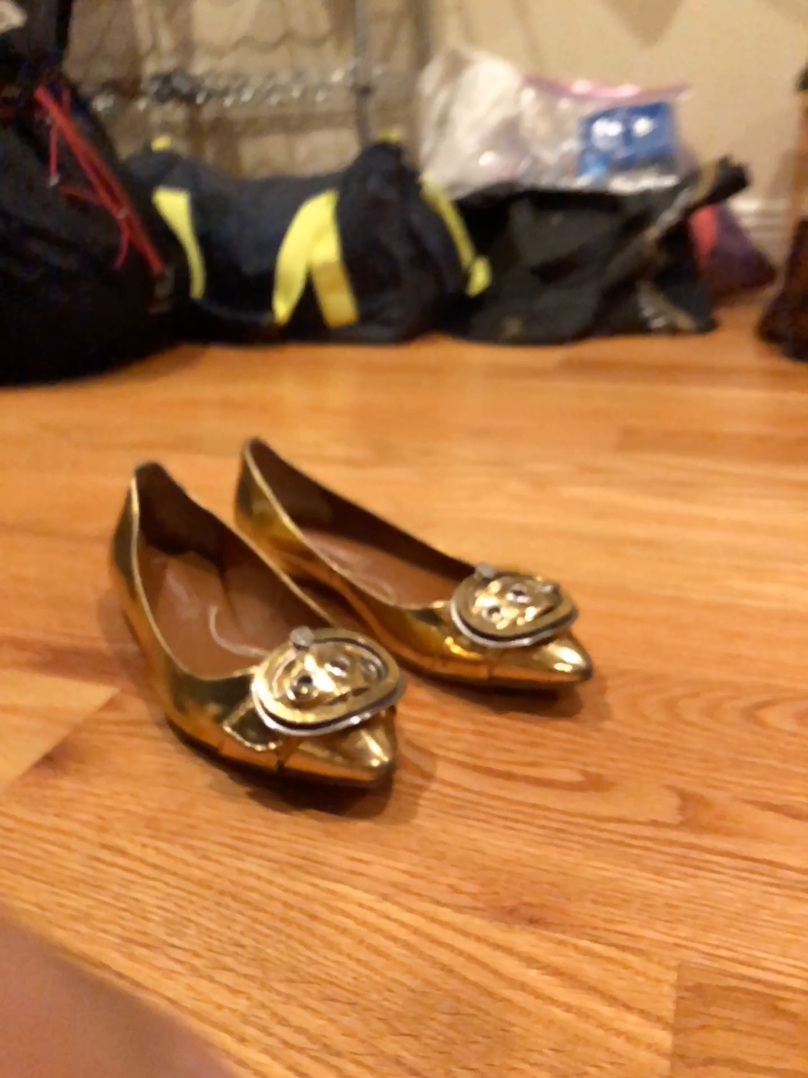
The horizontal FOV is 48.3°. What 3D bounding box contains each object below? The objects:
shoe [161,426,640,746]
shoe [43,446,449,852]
[{"bbox_3d":[-0.016,0.006,0.443,0.083,0.066,0.244,-21,29,-40],"label":"shoe"},{"bbox_3d":[-0.085,0.025,0.400,0.077,0.066,0.250,-15,26,-30],"label":"shoe"}]
